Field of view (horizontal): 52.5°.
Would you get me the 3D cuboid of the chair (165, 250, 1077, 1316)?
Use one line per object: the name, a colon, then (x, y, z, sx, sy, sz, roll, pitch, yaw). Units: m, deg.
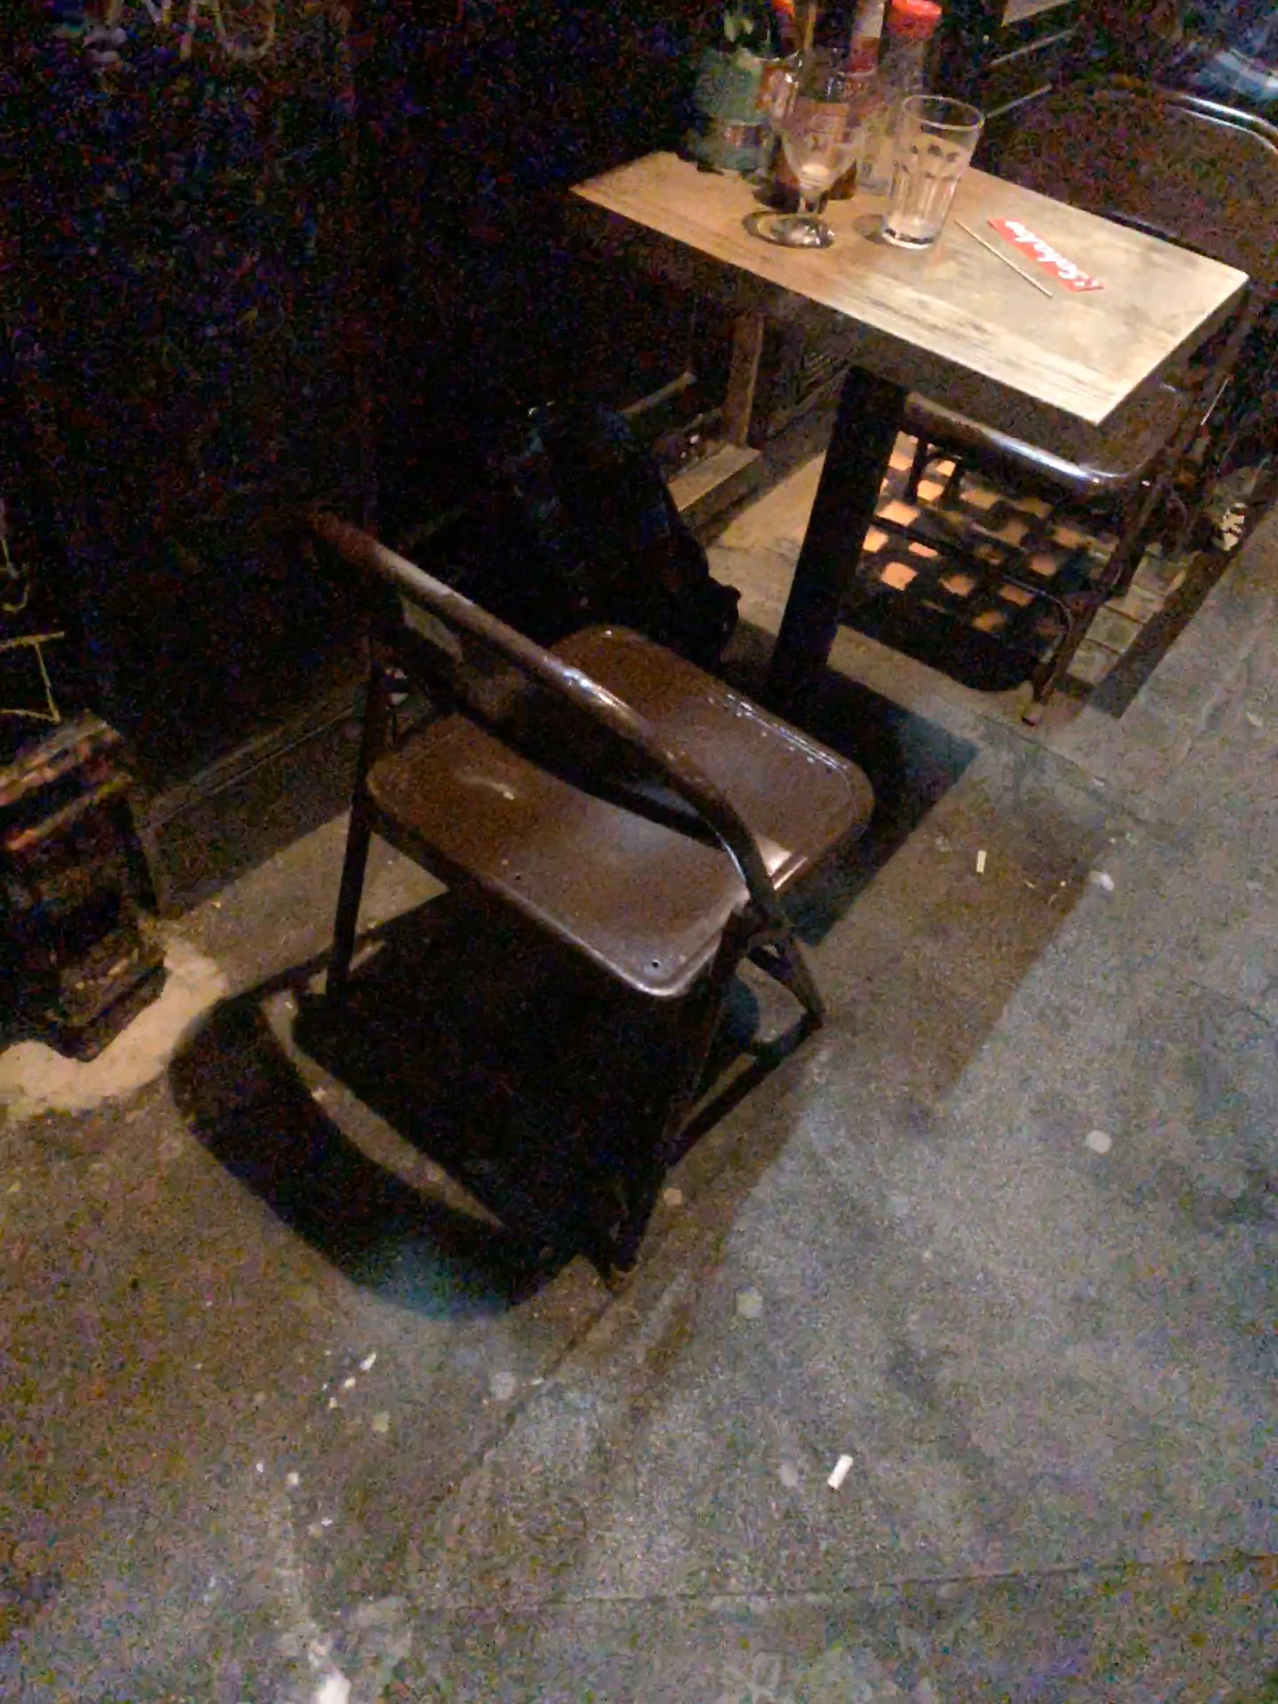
chair: (-0.031, -0.061, 1.218, 0.492, 0.723, 0.483, 32, 49, 23)
